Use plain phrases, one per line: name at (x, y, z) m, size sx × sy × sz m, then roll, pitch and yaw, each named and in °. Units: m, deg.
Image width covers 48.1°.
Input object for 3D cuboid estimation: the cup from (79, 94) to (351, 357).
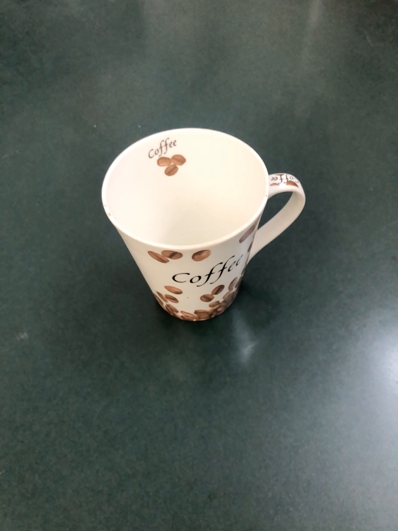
cup at (0.004, -0.023, 0.269) m, size 0.120 × 0.090 × 0.100 m, roll -13°, pitch 55°, yaw -5°
